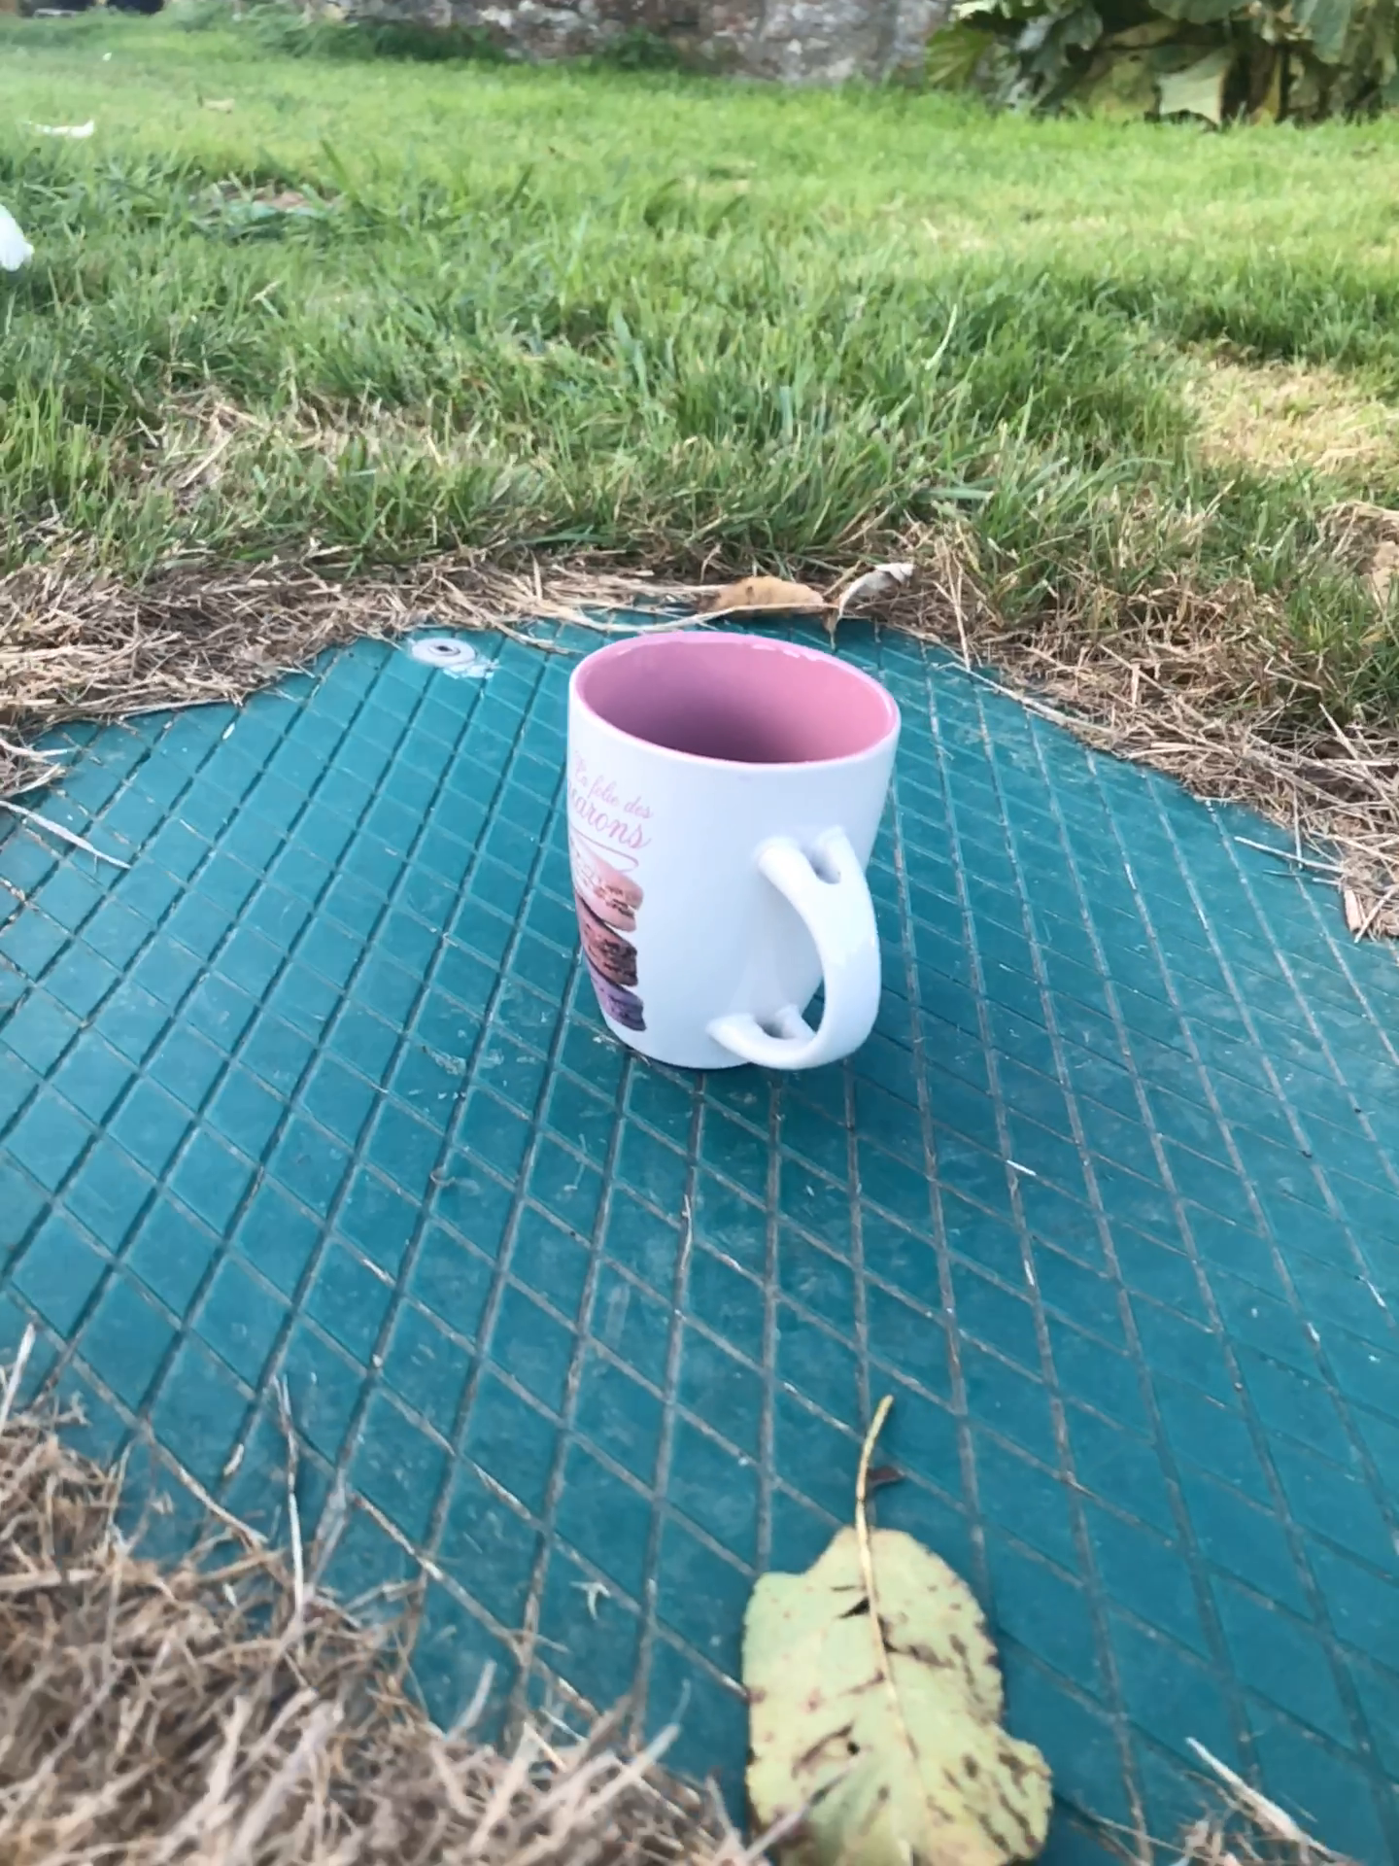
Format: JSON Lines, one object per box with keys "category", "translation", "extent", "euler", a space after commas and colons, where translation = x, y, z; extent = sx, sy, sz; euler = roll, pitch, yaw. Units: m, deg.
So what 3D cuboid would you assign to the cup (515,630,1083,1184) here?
{"category": "cup", "translation": [0.019, -0.015, 0.418], "extent": [0.095, 0.091, 0.121], "euler": [-11, 34, -27]}
